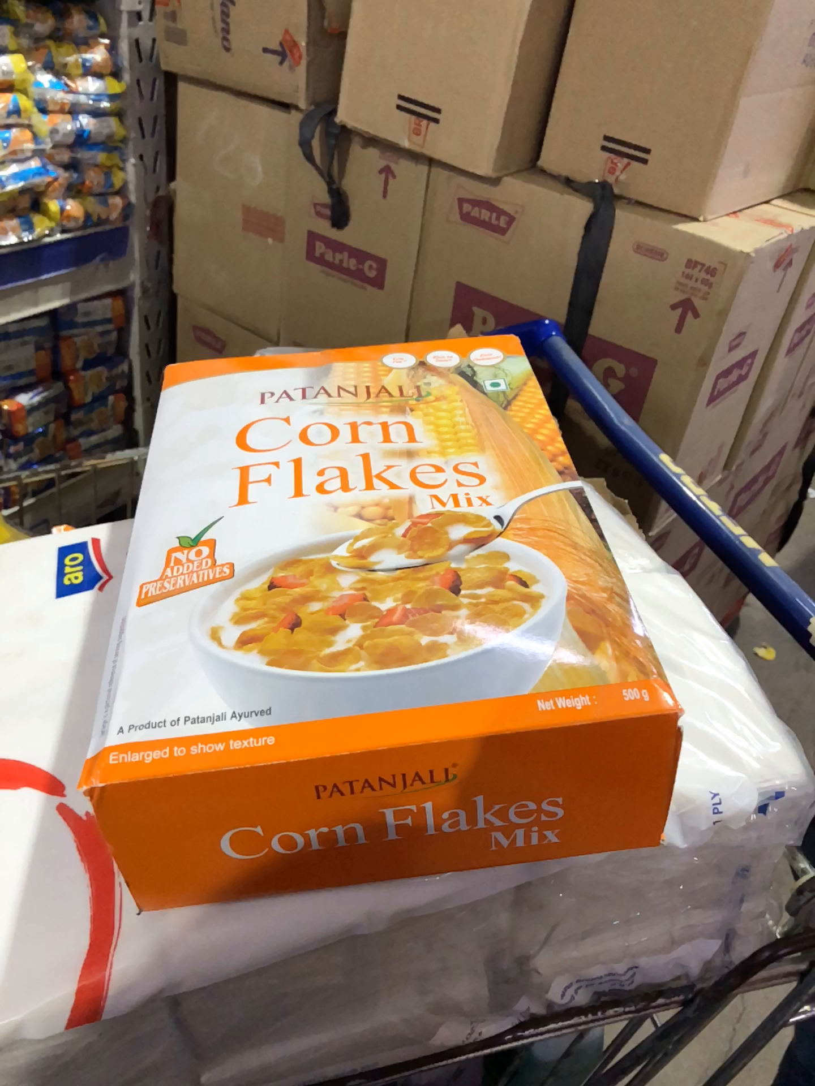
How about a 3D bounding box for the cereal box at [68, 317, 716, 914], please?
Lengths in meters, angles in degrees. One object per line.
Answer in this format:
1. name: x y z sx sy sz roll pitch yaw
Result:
1. cereal box: -0.018 0.004 0.404 0.200 0.079 0.272 -5 41 -5
